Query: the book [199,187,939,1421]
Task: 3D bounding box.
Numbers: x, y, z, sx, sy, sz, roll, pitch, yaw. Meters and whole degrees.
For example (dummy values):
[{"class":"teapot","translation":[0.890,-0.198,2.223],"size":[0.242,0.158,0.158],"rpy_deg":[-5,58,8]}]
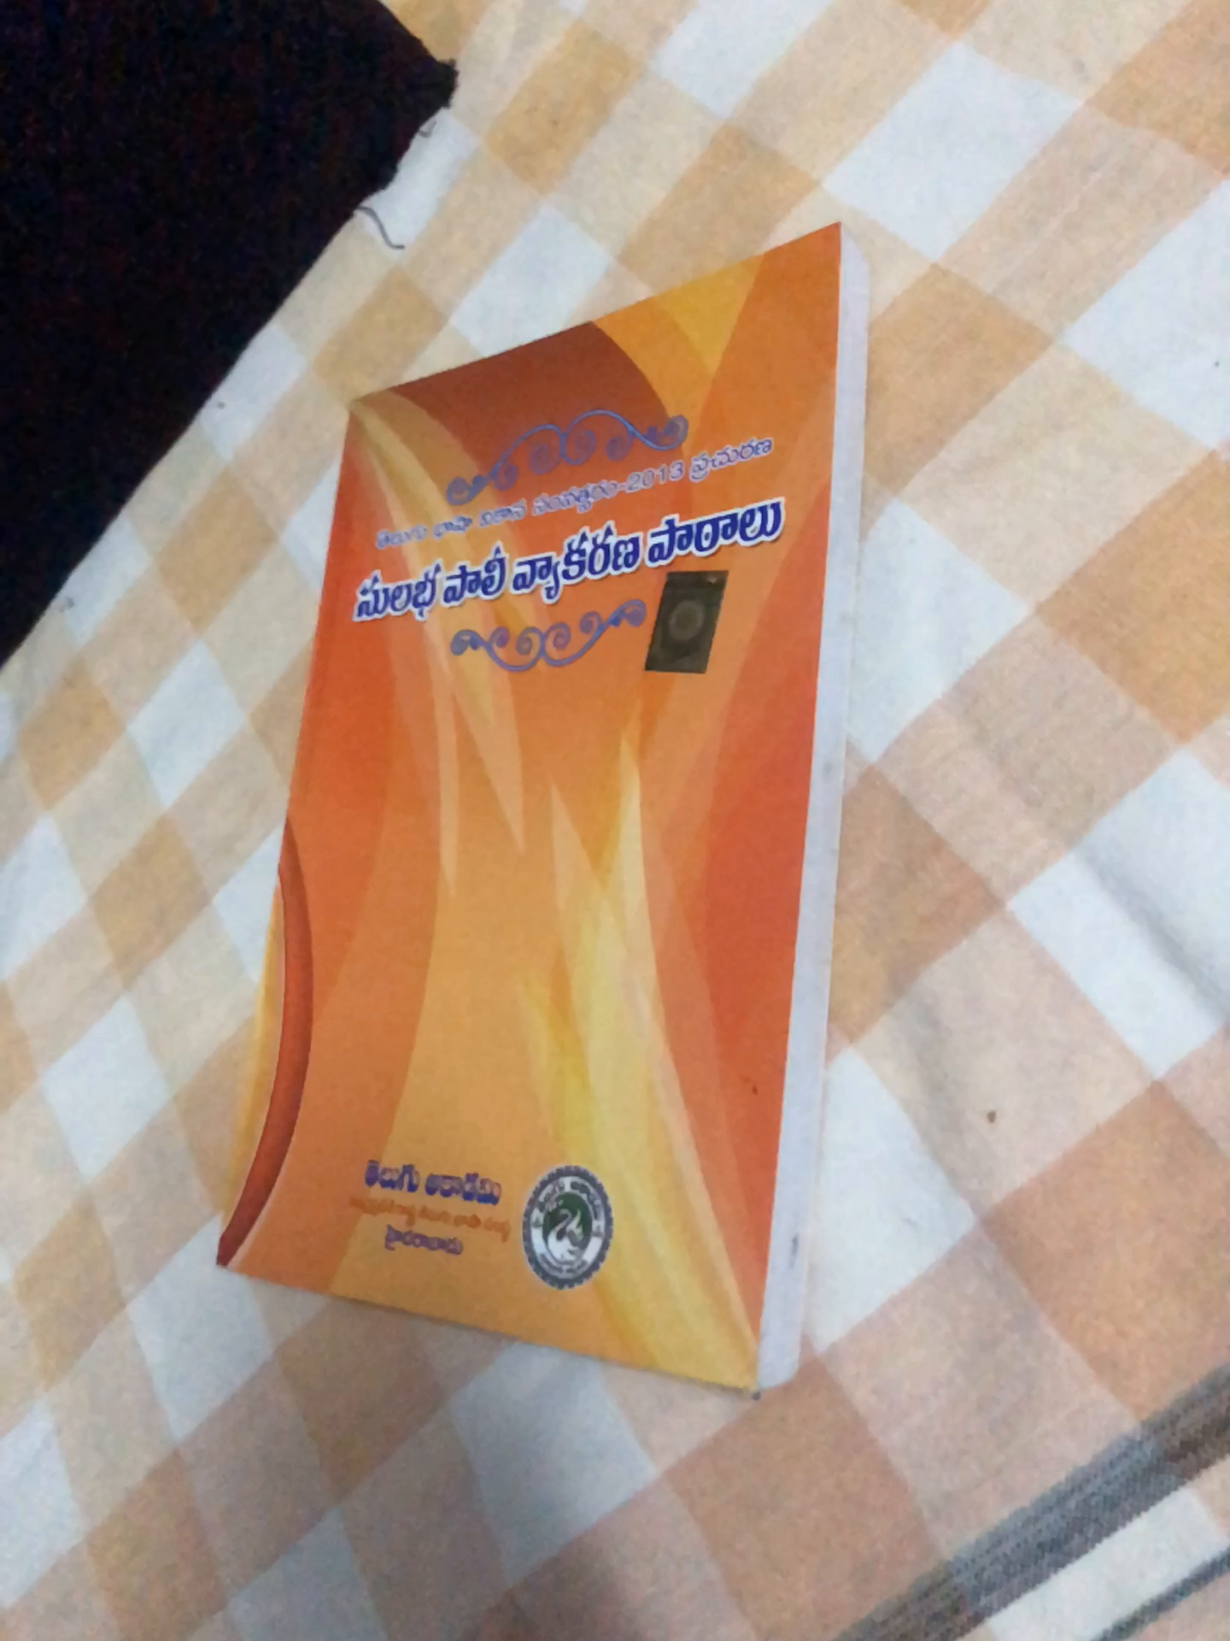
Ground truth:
[{"class":"book","translation":[-0.012,-0.008,0.273],"size":[0.140,0.020,0.210],"rpy_deg":[-3,74,35]}]
